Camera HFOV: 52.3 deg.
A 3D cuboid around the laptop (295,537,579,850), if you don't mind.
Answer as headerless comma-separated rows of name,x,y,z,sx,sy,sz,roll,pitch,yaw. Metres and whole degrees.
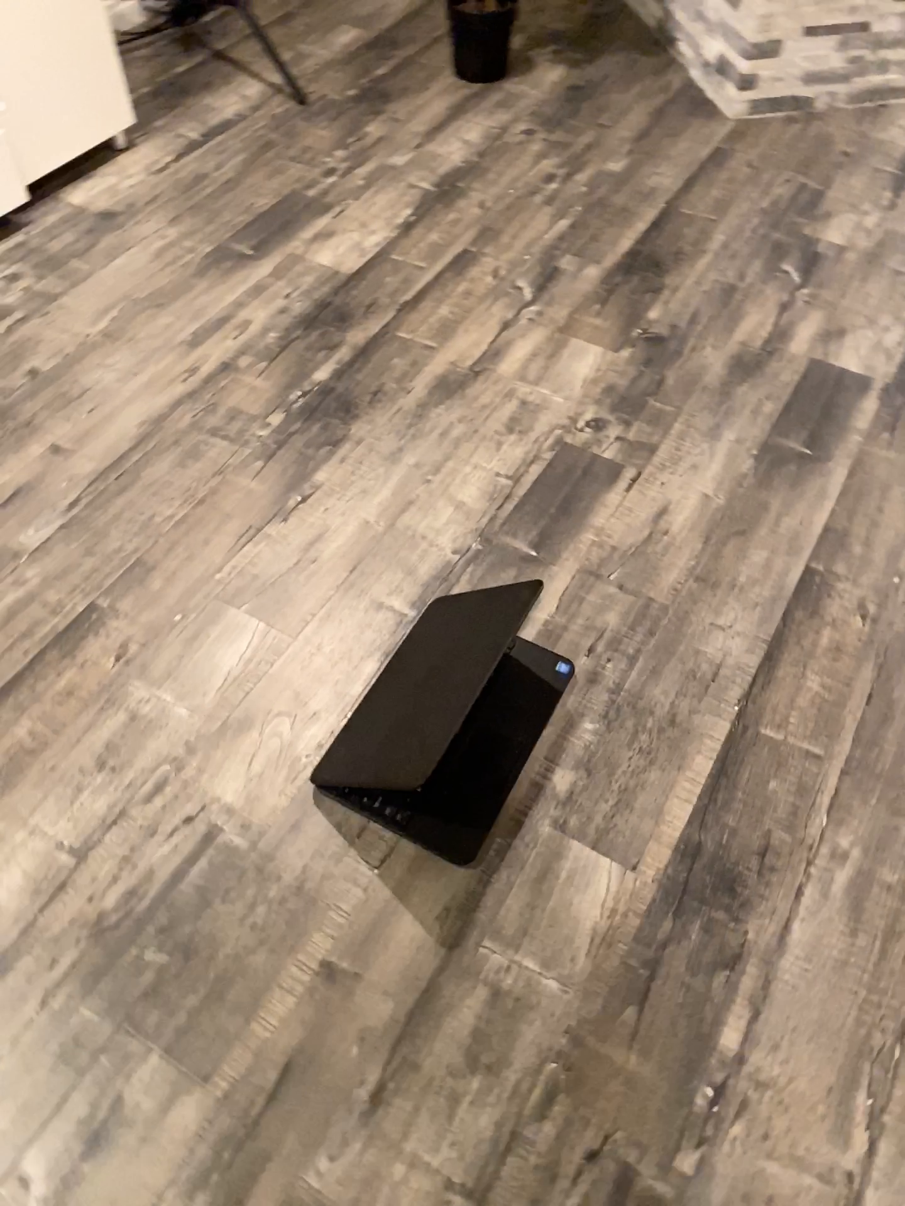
laptop,-0.012,0.116,1.287,0.230,0.170,0.353,22,55,17
